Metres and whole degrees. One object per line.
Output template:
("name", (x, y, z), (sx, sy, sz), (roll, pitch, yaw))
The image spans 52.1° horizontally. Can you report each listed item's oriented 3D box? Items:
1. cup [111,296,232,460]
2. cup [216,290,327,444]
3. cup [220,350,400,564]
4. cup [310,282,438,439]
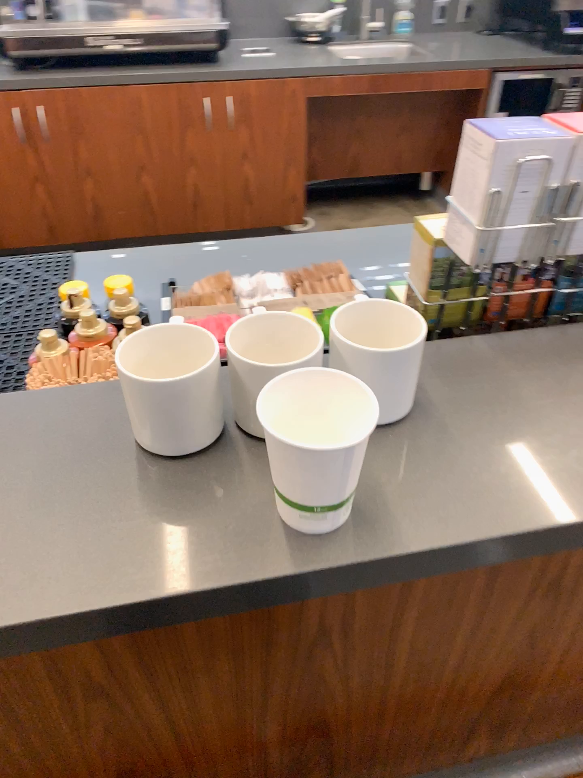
("cup", (-0.106, -0.012, 0.555), (0.090, 0.099, 0.111), (-4, 39, -5))
("cup", (-0.022, -0.023, 0.560), (0.090, 0.089, 0.111), (-4, 39, -5))
("cup", (0.013, 0.048, 0.452), (0.090, 0.099, 0.090), (0, 39, 0))
("cup", (0.073, -0.030, 0.581), (0.090, 0.099, 0.111), (-5, 39, -6))
